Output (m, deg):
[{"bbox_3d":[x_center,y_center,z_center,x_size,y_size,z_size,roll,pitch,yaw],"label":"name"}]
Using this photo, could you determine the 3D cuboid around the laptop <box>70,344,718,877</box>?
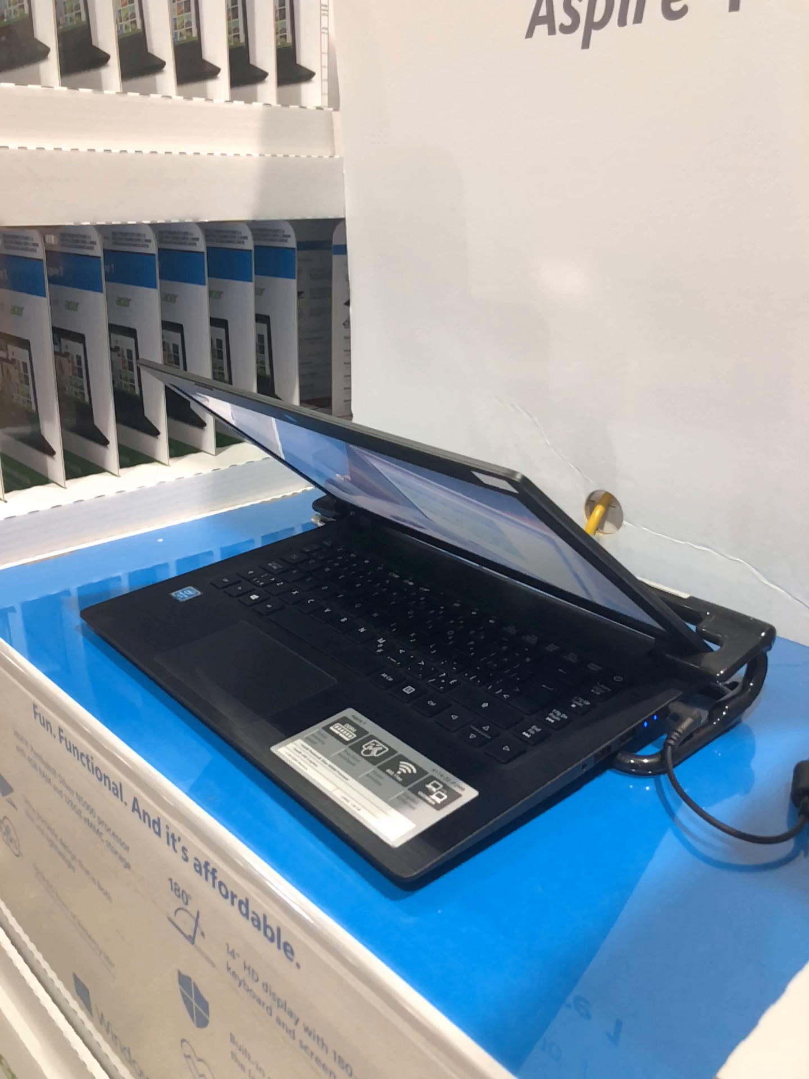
[{"bbox_3d":[-0.029,-0.005,0.528,0.206,0.145,0.334,-19,28,-36],"label":"laptop"}]
